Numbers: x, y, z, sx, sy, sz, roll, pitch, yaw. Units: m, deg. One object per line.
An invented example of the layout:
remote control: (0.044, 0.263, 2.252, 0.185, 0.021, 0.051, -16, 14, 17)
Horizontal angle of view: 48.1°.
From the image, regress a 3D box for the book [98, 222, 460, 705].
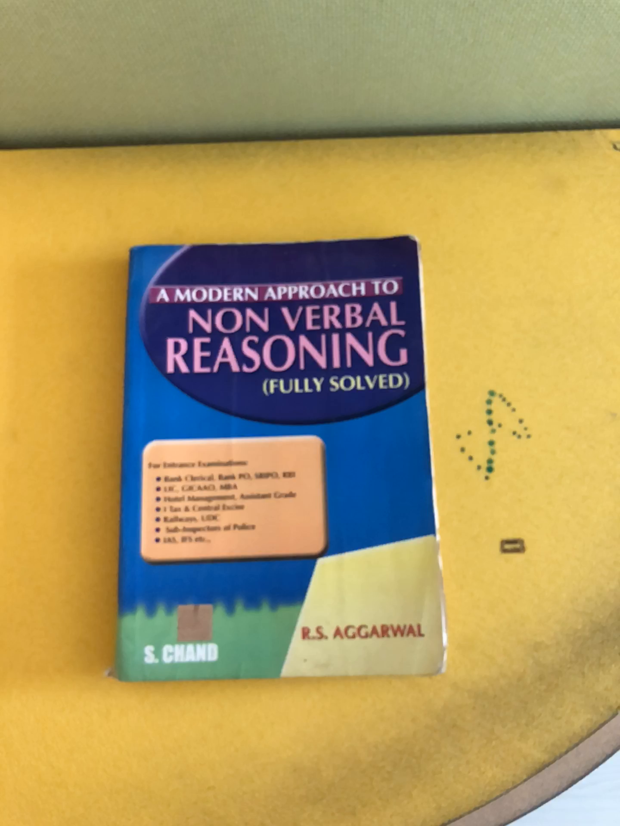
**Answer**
book: (-0.019, 0.021, 0.371, 0.170, 0.040, 0.240, -2, 78, 0)
